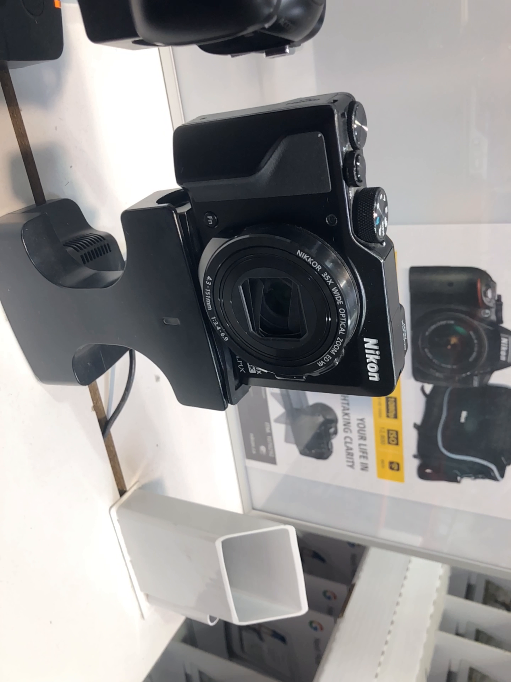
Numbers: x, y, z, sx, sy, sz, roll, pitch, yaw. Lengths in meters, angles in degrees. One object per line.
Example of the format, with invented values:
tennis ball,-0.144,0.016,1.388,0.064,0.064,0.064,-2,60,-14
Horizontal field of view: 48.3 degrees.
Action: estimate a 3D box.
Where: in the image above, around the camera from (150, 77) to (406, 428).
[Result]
camera,0.017,-0.028,0.217,0.044,0.069,0.117,-61,146,-49
